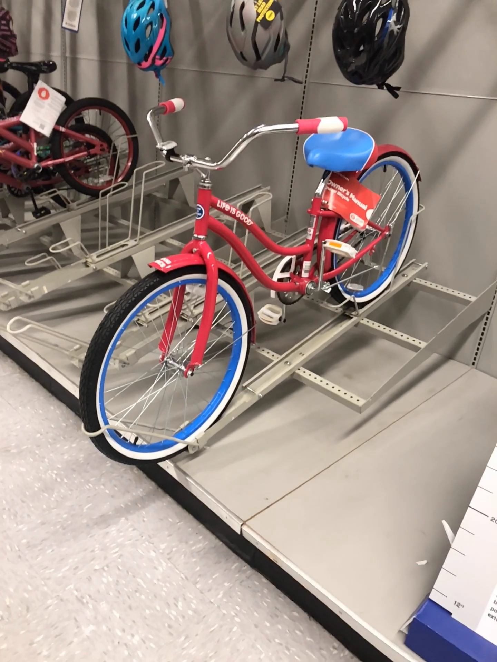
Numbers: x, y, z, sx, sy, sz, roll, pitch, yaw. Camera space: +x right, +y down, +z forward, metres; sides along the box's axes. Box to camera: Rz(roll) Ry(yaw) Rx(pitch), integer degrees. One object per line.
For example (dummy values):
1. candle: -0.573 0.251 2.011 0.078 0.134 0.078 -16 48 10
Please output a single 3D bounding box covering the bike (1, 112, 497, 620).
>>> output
1. bike: 0.098 -0.124 1.906 0.812 0.676 1.609 26 45 37
